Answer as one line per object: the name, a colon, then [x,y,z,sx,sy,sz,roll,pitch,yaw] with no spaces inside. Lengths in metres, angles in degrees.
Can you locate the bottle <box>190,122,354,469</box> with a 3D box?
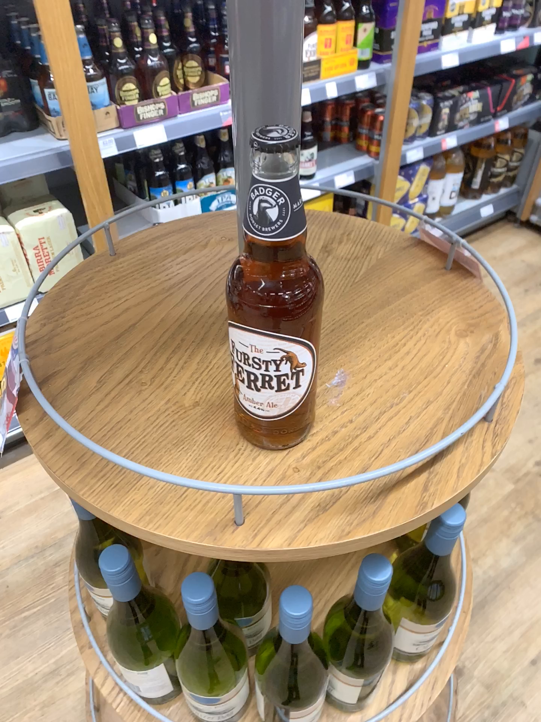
bottle: [0.004,-0.033,0.392,0.069,0.231,0.076,16,45,17]
